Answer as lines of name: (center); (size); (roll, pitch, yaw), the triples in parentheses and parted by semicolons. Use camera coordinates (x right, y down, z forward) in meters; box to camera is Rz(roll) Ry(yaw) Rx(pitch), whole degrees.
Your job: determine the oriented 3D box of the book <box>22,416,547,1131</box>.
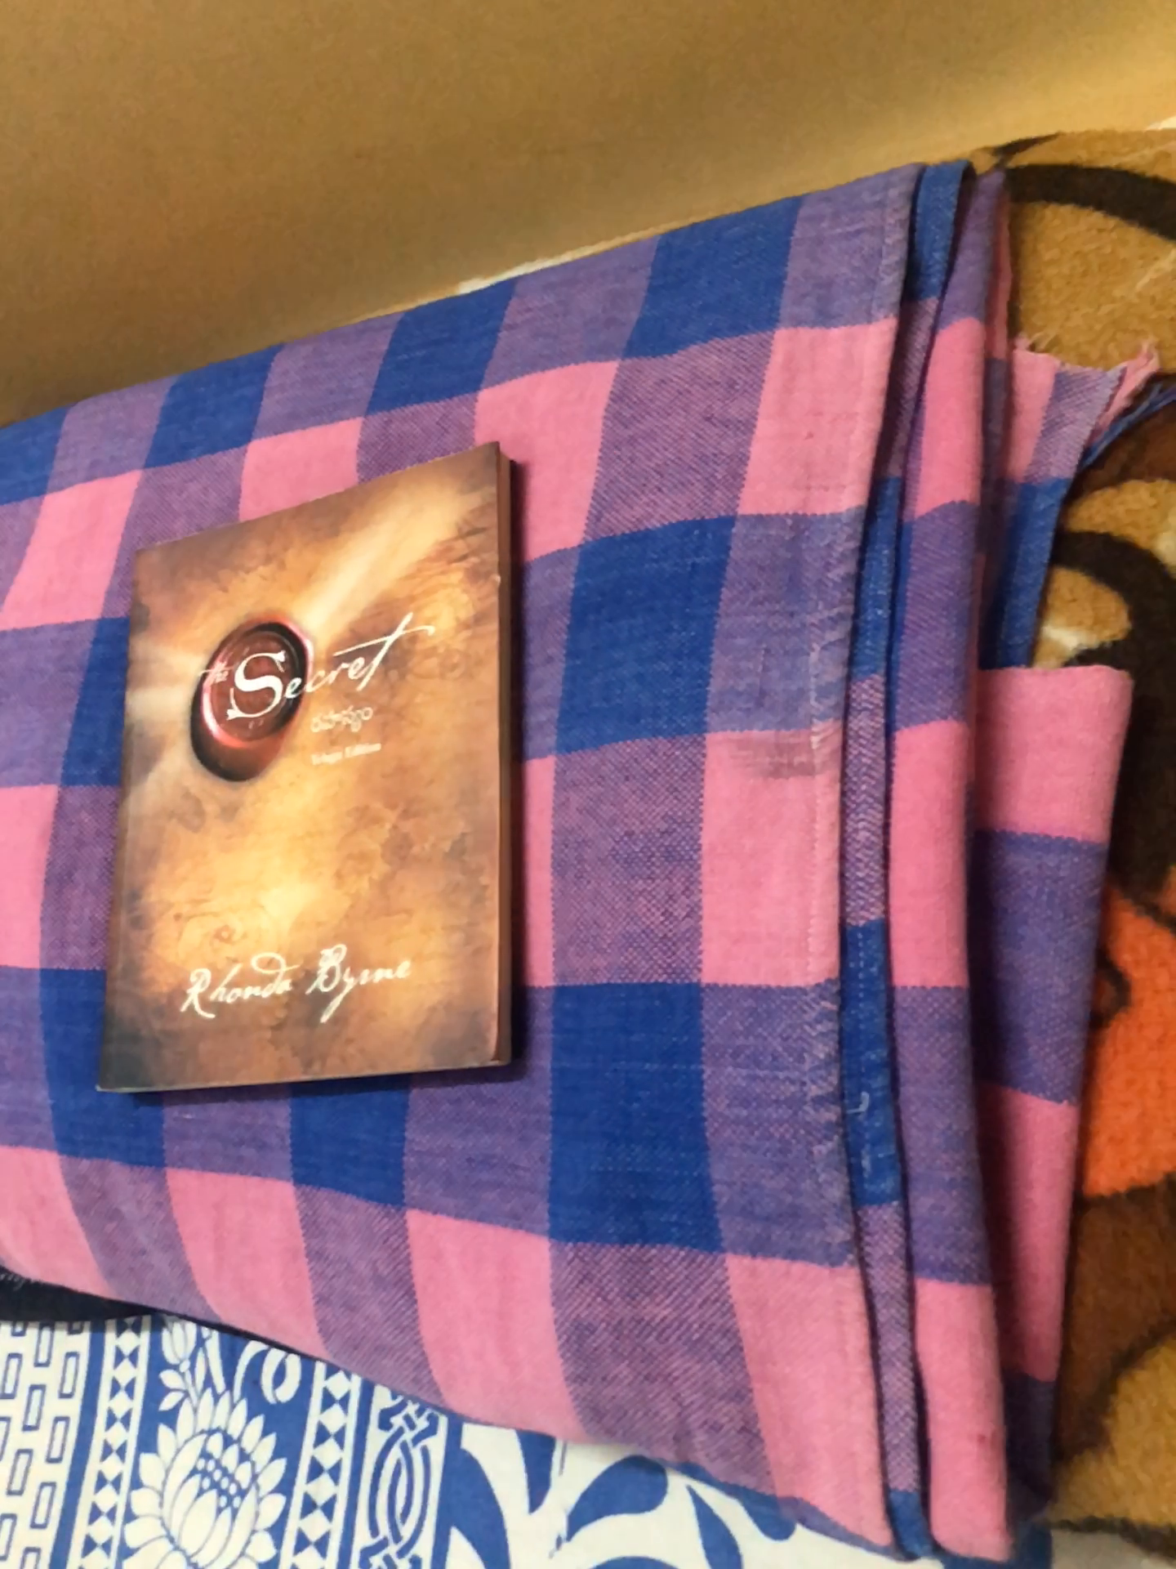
book: (-0.086, -0.002, 0.375); (0.150, 0.020, 0.190); (-11, 63, 27)
